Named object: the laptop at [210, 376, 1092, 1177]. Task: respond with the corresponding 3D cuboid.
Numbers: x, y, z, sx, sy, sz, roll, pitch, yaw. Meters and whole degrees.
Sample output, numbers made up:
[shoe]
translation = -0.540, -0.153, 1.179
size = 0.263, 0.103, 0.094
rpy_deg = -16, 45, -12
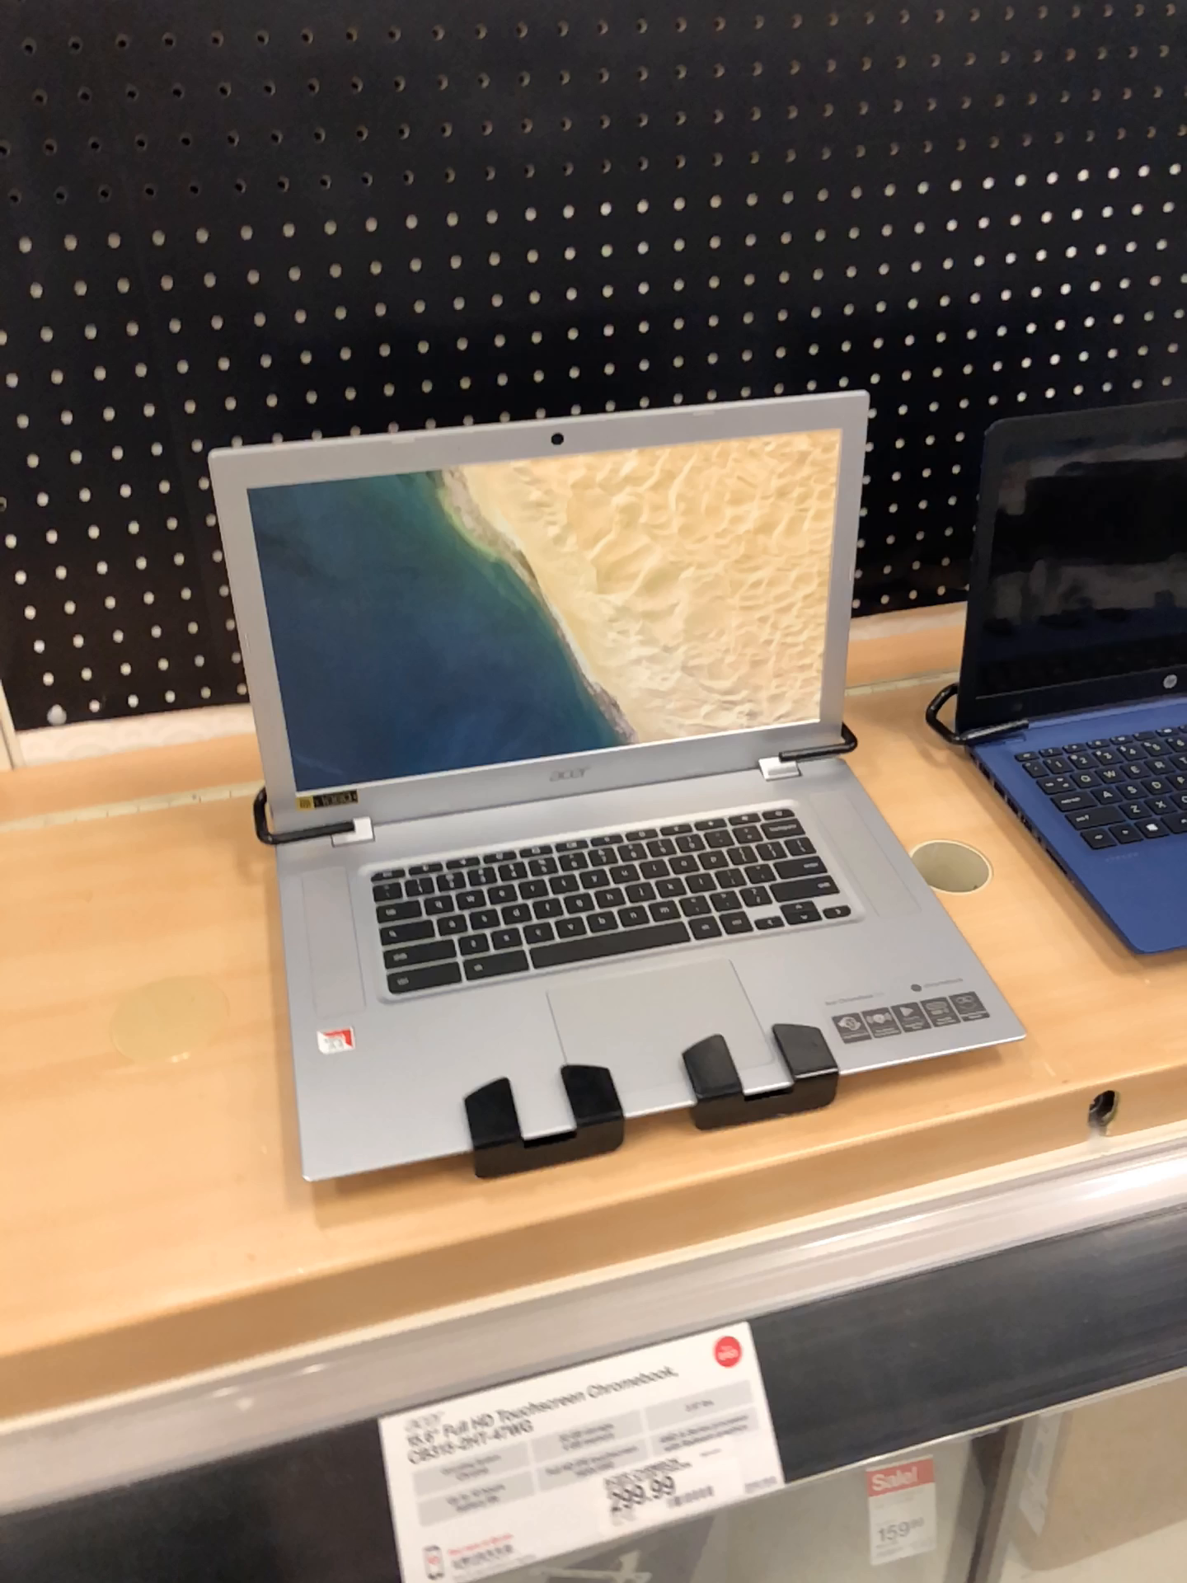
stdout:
[laptop]
translation = 0.006, -0.035, 0.707
size = 0.372, 0.246, 0.287
rpy_deg = -9, 34, -11
